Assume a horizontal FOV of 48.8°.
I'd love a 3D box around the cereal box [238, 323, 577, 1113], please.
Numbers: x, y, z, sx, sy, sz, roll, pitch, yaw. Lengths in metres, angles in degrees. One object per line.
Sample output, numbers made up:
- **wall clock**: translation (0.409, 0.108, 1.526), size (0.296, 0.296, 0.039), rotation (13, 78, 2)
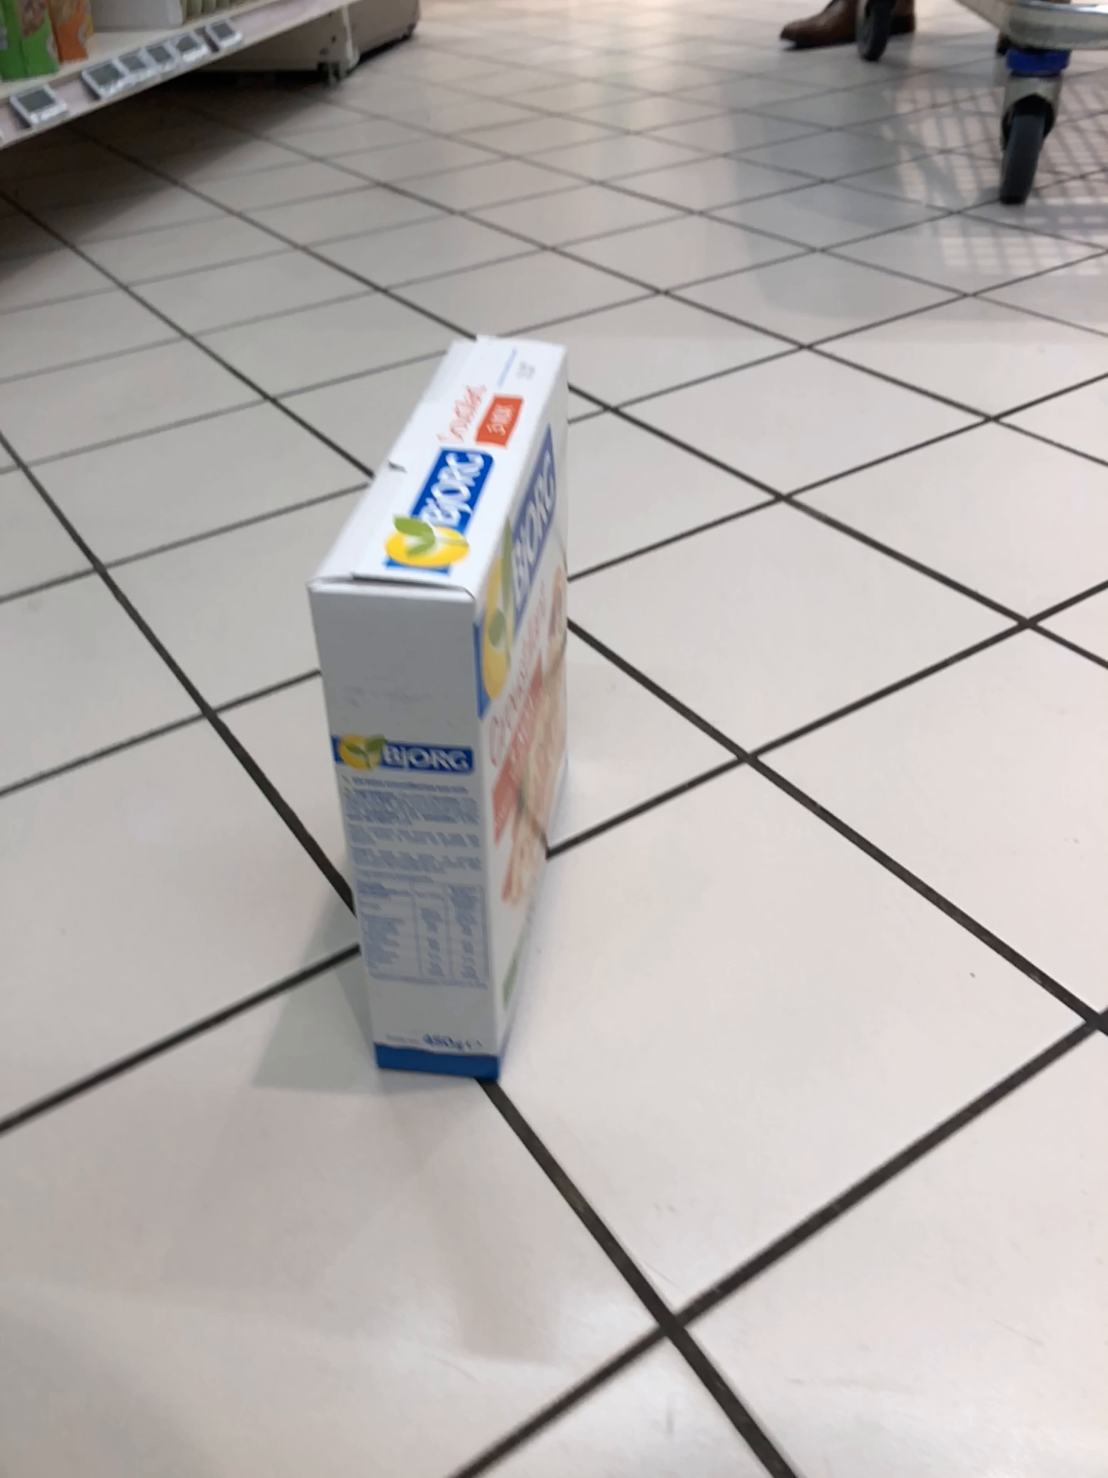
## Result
- **cereal box**: translation (-0.039, -0.014, 0.474), size (0.060, 0.219, 0.211), rotation (7, 38, 7)
